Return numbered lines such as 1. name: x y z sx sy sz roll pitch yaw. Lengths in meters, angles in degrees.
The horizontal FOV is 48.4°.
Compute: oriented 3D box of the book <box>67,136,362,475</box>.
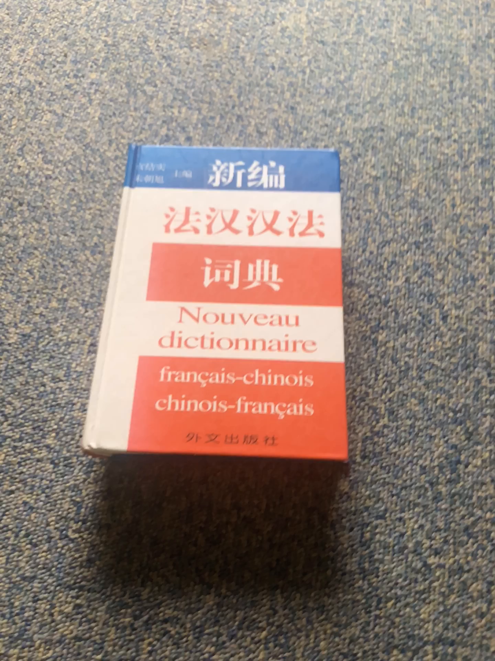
1. book: -0.014 -0.023 0.339 0.152 0.034 0.209 2 68 1
